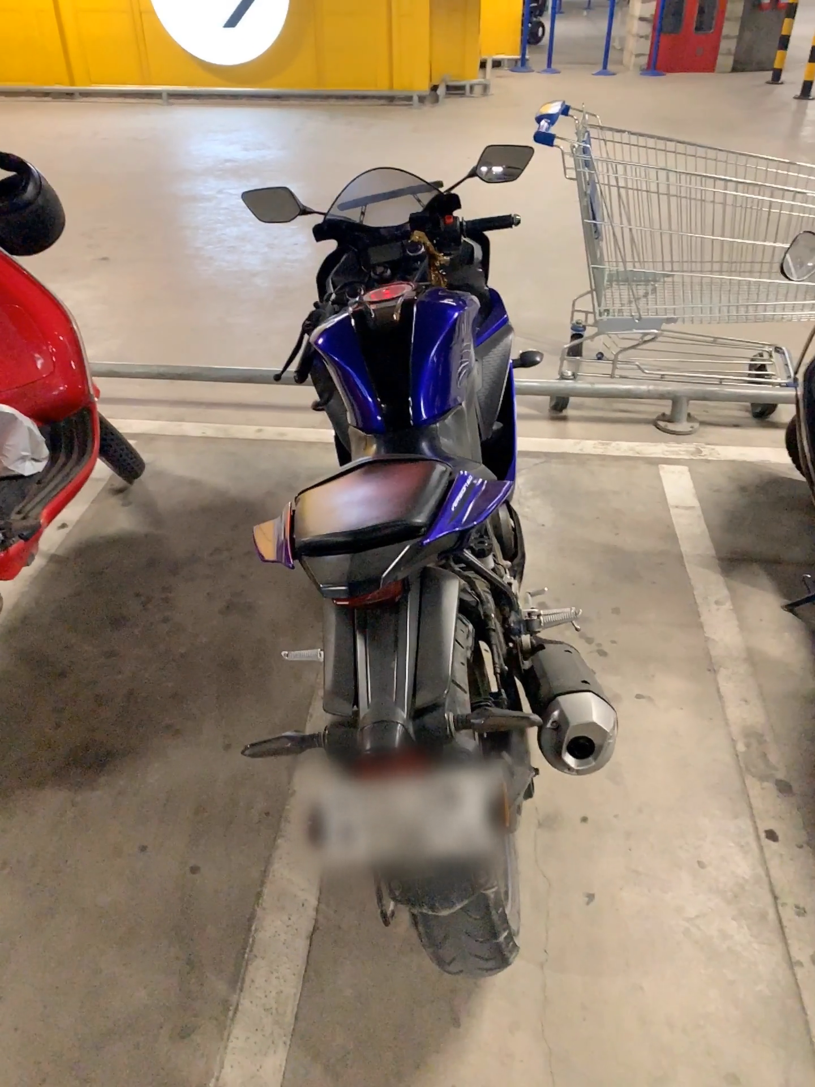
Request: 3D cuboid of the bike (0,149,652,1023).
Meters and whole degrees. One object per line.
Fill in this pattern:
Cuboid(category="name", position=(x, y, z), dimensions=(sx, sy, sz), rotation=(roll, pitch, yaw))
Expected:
Cuboid(category="bike", position=(-0.233, -0.102, 1.761), dimensions=(0.687, 0.933, 1.657), rotation=(-5, 39, -6))
